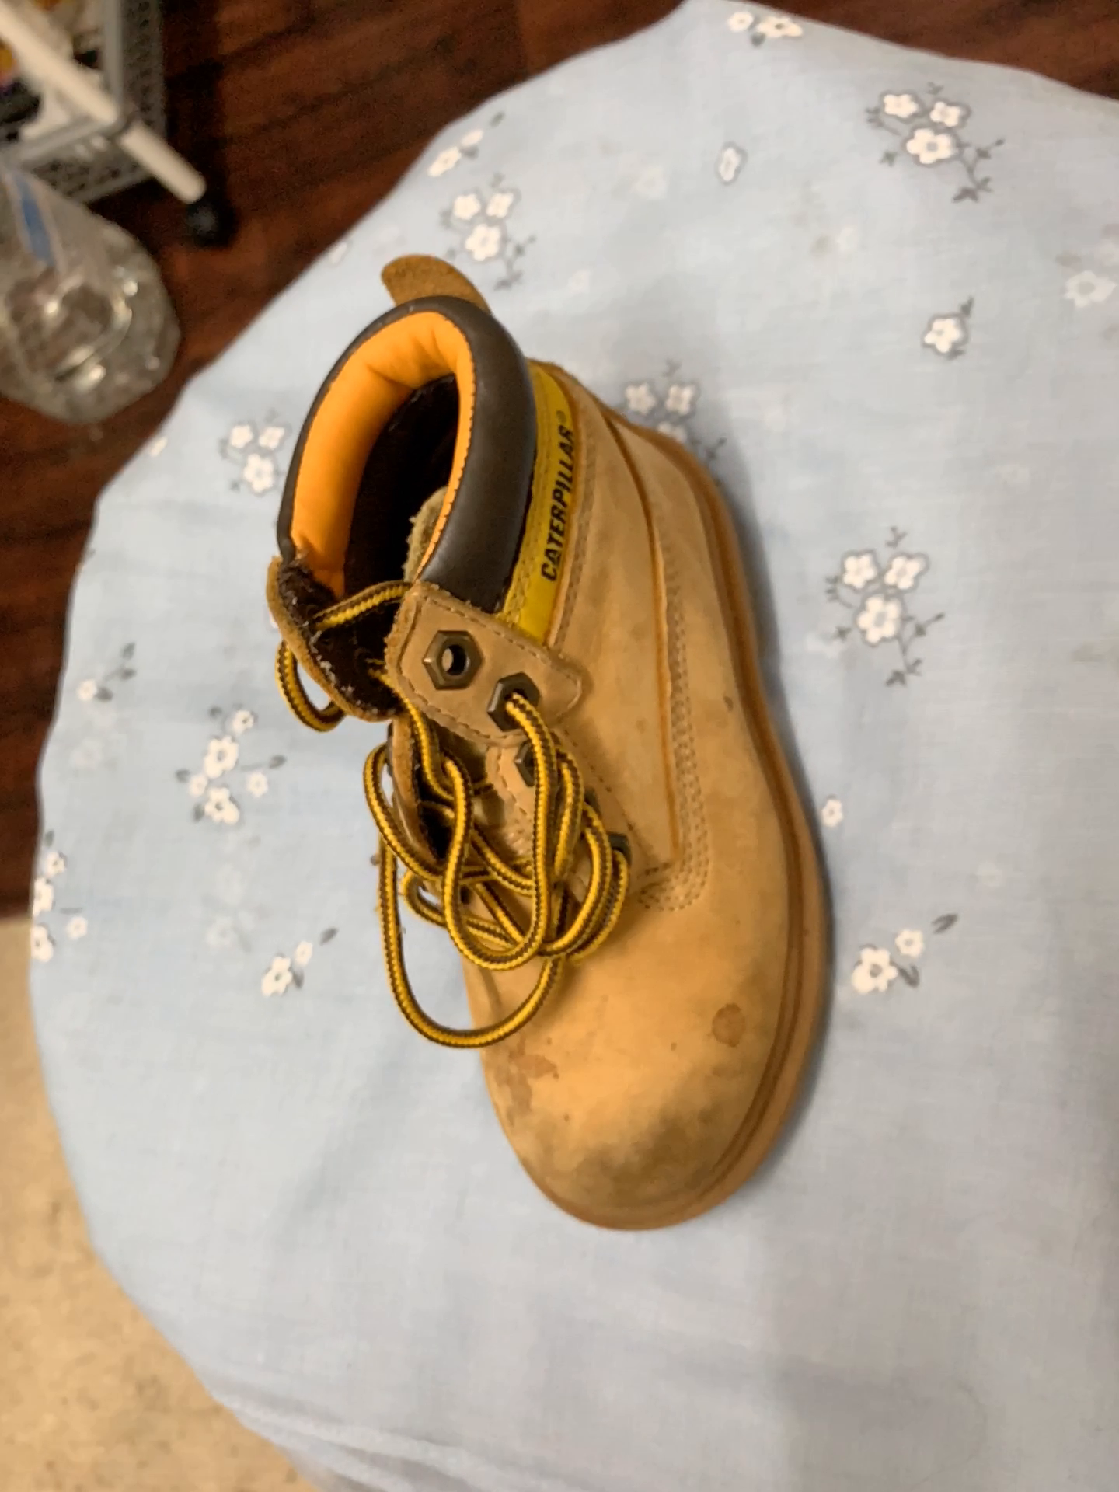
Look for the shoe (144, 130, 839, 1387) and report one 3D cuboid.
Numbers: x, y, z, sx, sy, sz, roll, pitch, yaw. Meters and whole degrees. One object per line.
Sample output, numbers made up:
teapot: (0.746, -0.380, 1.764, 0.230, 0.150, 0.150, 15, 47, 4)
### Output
shoe: (-0.006, 0.006, 0.247, 0.095, 0.120, 0.190, -6, 80, 21)
